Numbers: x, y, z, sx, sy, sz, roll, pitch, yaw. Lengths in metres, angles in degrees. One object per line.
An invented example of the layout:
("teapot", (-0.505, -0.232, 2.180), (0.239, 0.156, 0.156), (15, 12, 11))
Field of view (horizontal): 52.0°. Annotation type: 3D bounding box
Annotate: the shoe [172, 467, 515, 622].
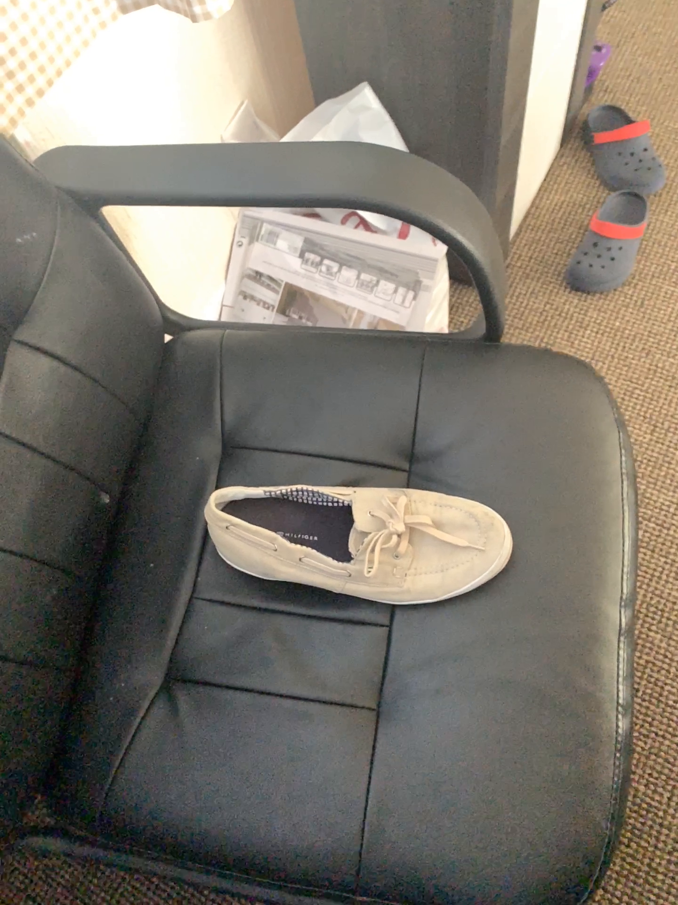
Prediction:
("shoe", (0.007, 0.077, 0.591), (0.270, 0.070, 0.100), (2, 67, 10))
